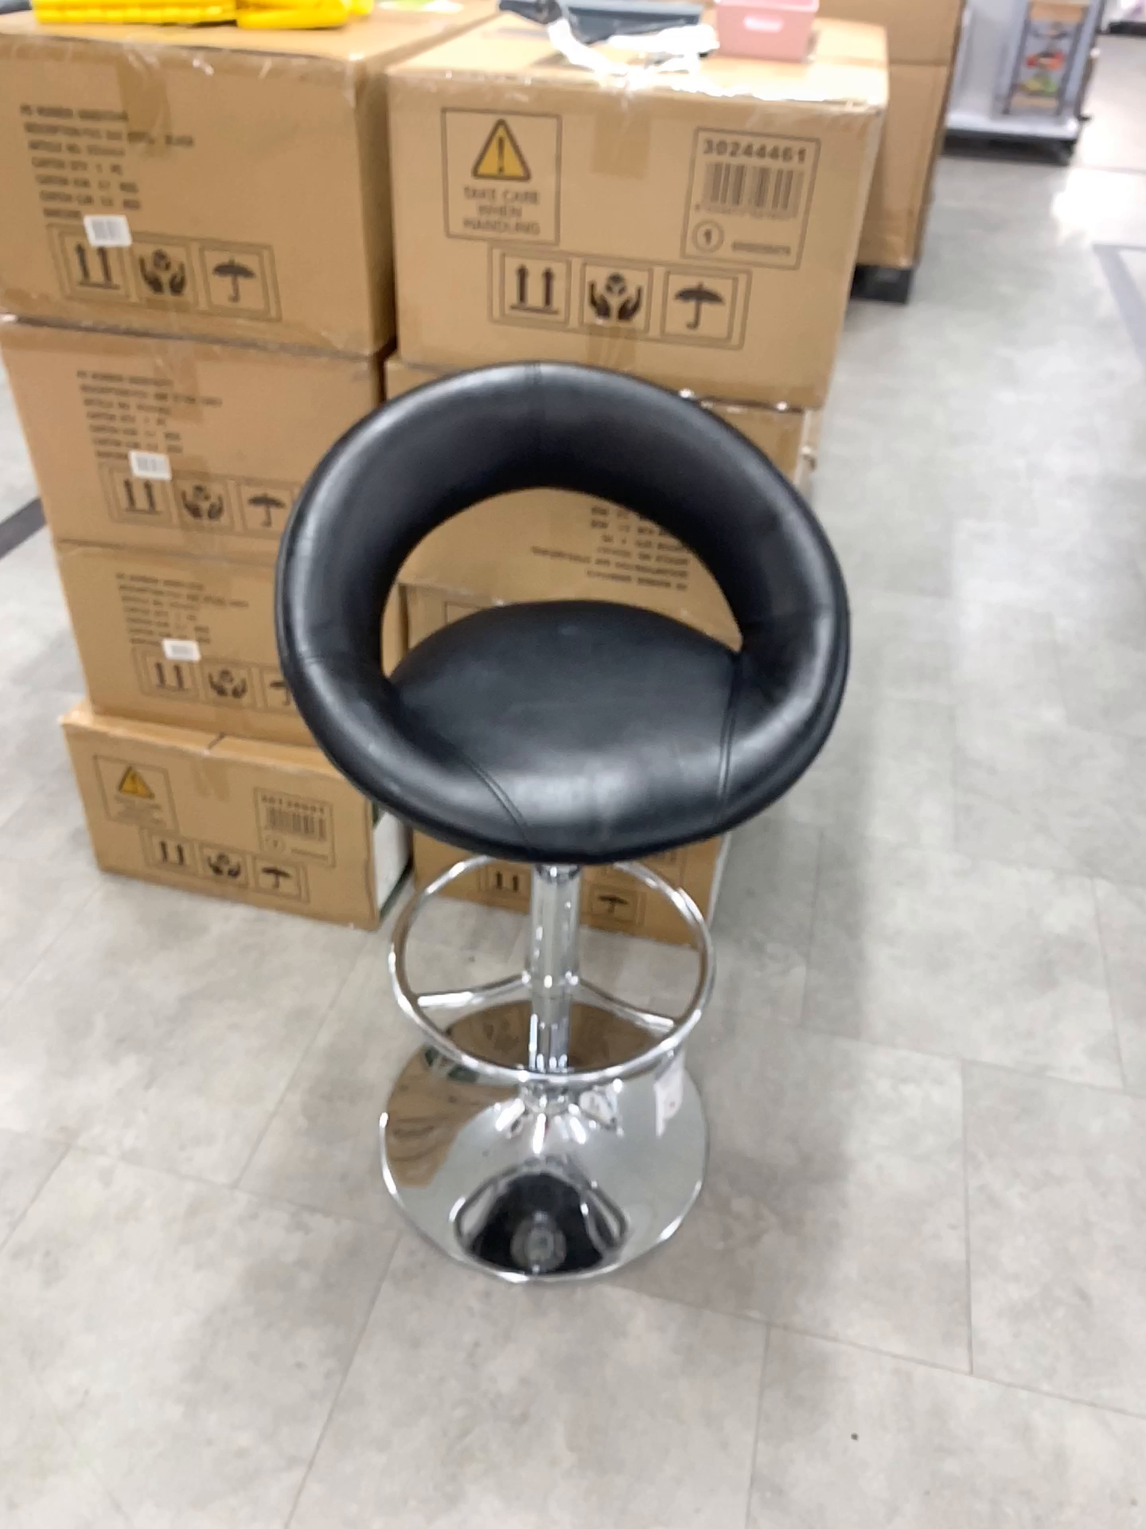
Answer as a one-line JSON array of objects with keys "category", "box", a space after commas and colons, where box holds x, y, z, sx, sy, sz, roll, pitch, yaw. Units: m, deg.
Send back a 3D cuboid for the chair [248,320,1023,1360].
[{"category": "chair", "box": [-0.010, 0.097, 1.246, 0.509, 0.933, 0.487, -7, 39, -13]}]
